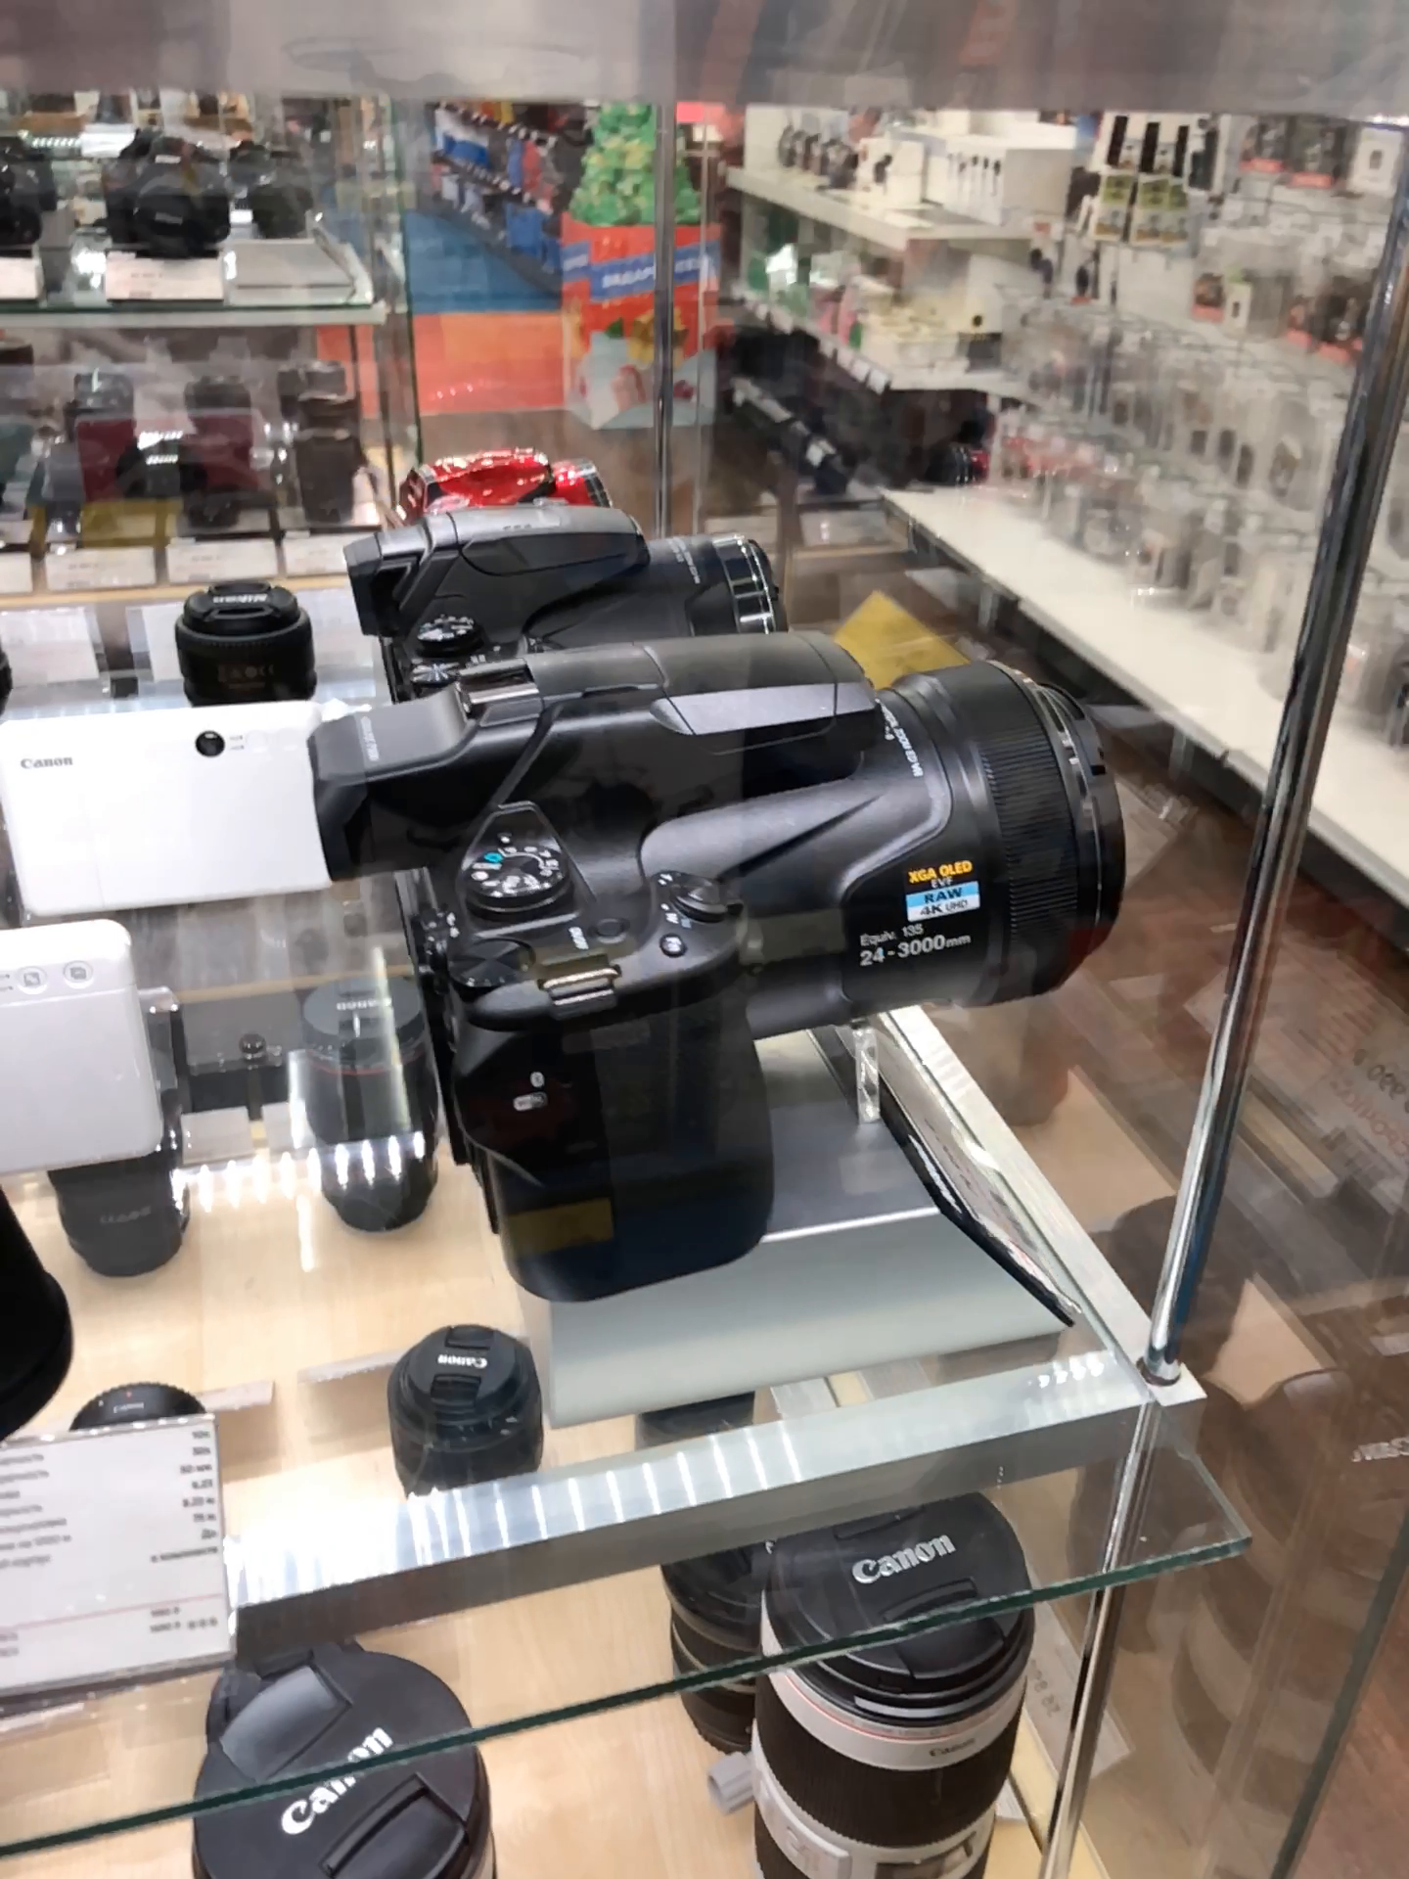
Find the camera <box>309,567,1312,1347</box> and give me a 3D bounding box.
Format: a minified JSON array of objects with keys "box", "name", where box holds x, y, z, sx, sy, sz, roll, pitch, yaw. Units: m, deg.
[{"box":[0.010,-0.011,0.402,0.200,0.113,0.161,-7,31,-14],"name":"camera"}]
